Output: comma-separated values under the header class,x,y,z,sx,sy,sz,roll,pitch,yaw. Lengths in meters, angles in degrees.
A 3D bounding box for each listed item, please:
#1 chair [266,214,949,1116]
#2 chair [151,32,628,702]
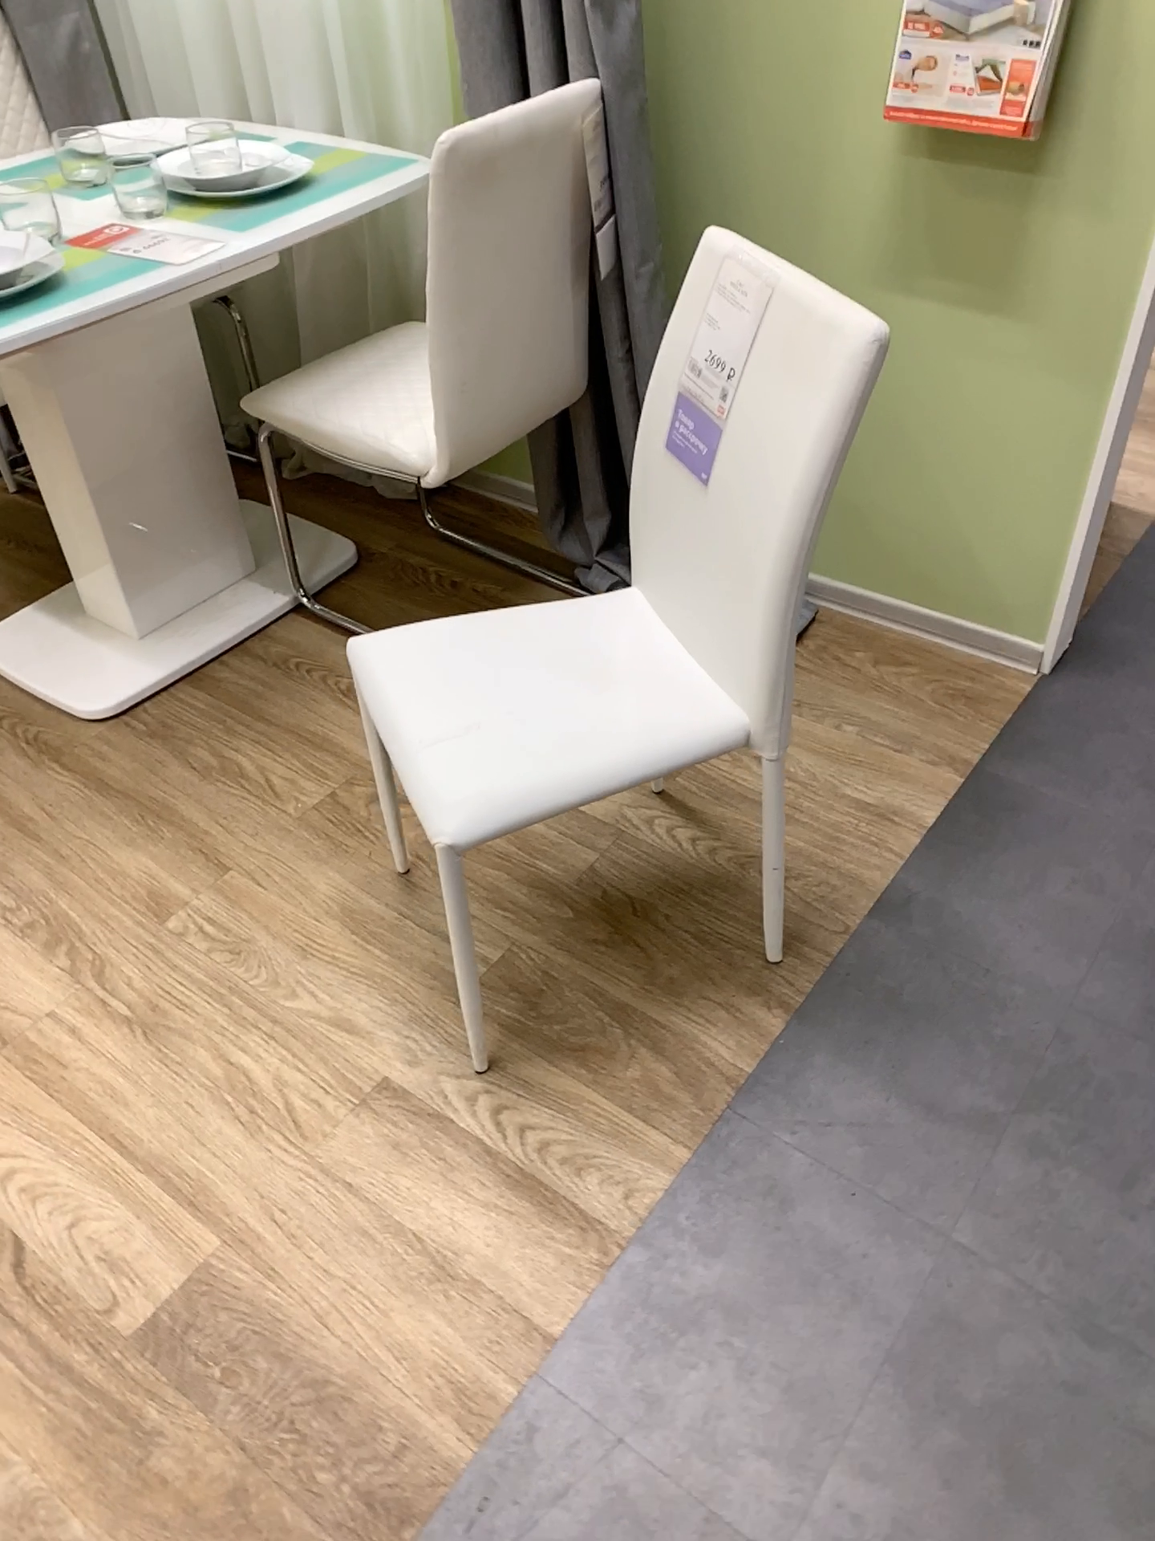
class,x,y,z,sx,sy,sz,roll,pitch,yaw
chair,0.023,-0.104,1.483,0.550,0.924,0.452,-17,43,-15
chair,-0.274,-0.709,2.115,0.562,0.944,0.451,26,49,29
